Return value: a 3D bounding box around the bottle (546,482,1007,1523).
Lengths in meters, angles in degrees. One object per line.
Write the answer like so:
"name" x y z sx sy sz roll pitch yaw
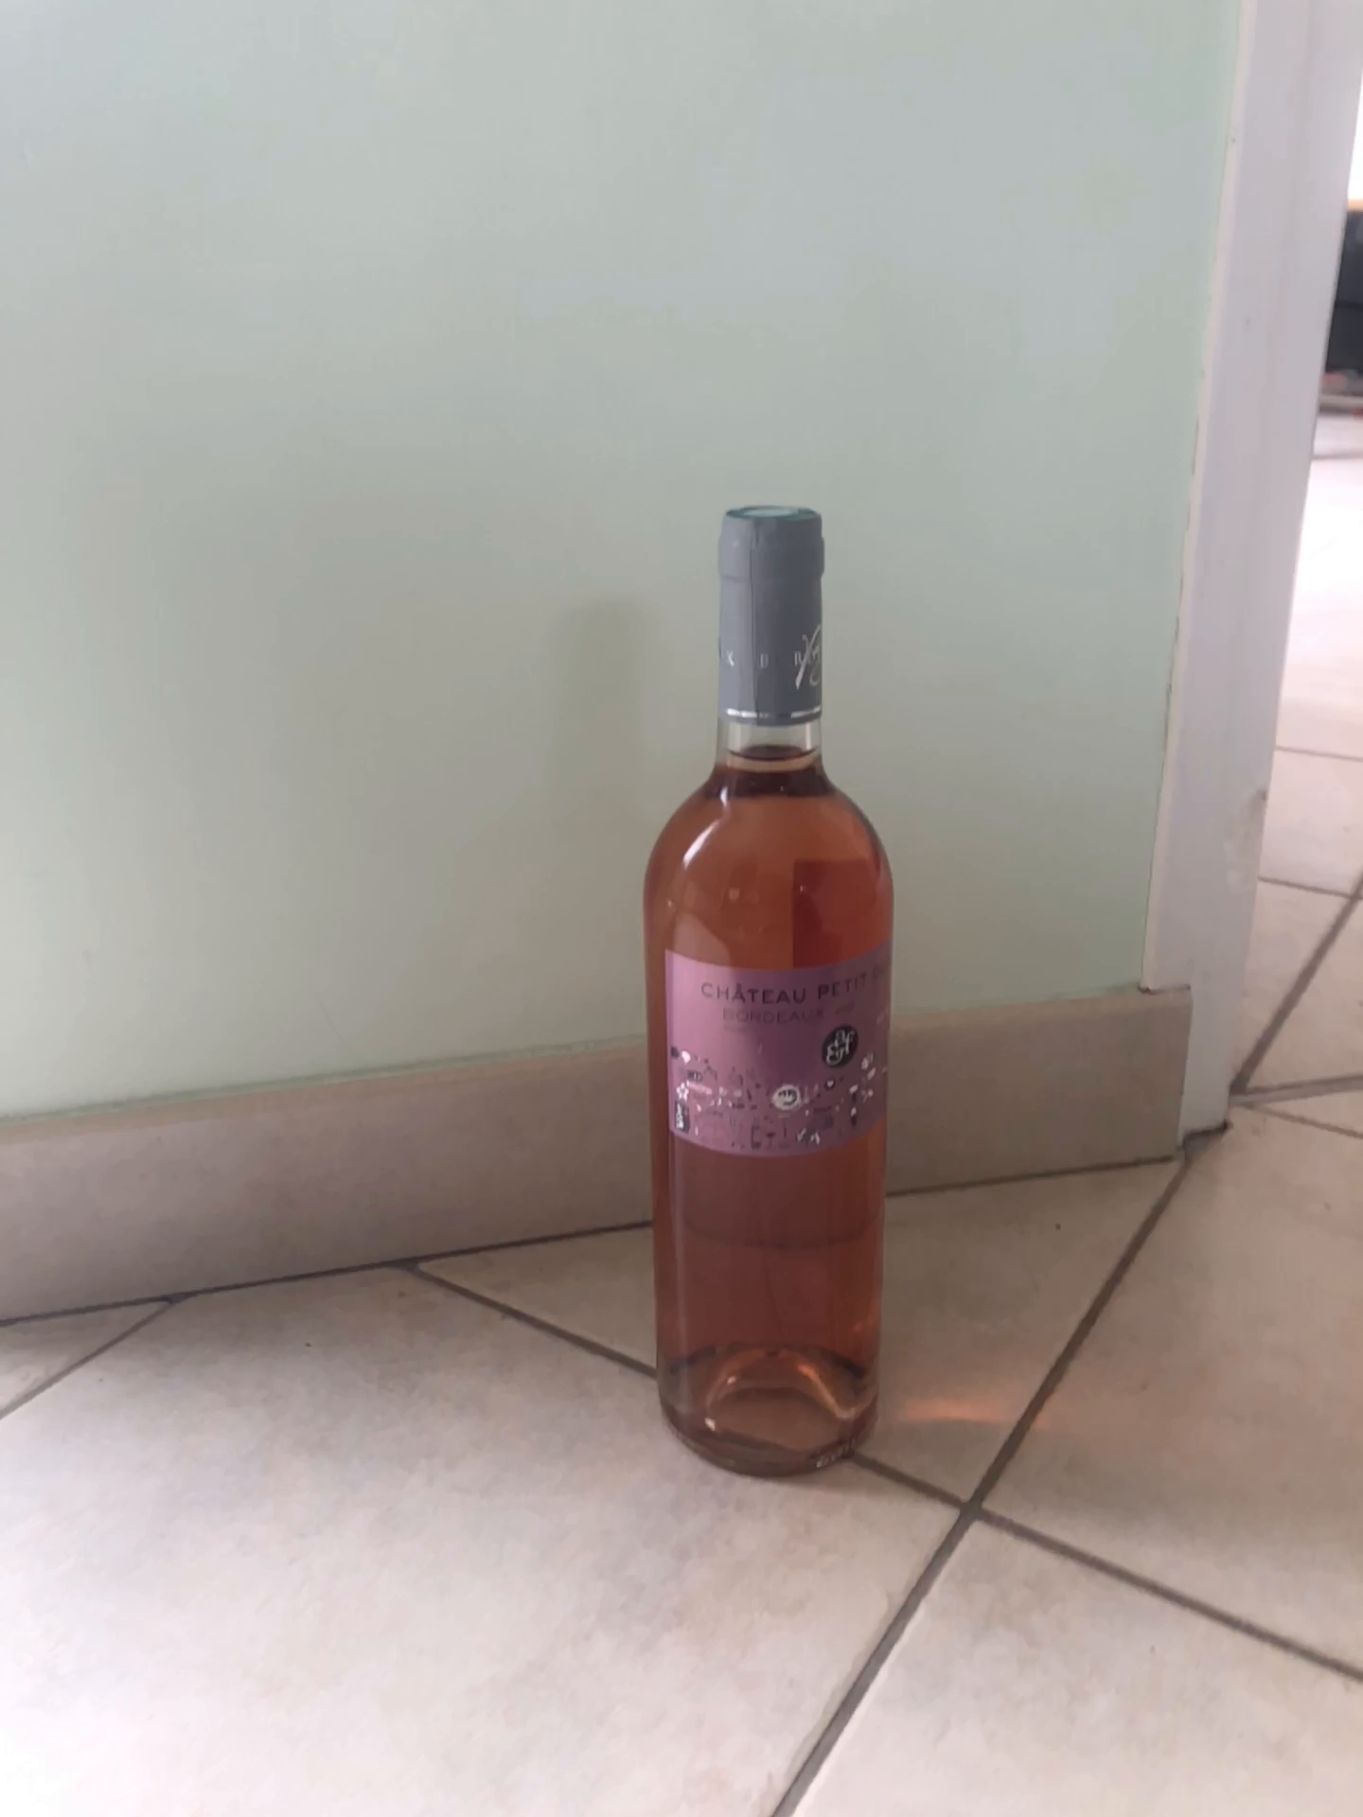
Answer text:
"bottle" 0.029 0.027 0.454 0.090 0.289 0.091 -1 22 0
